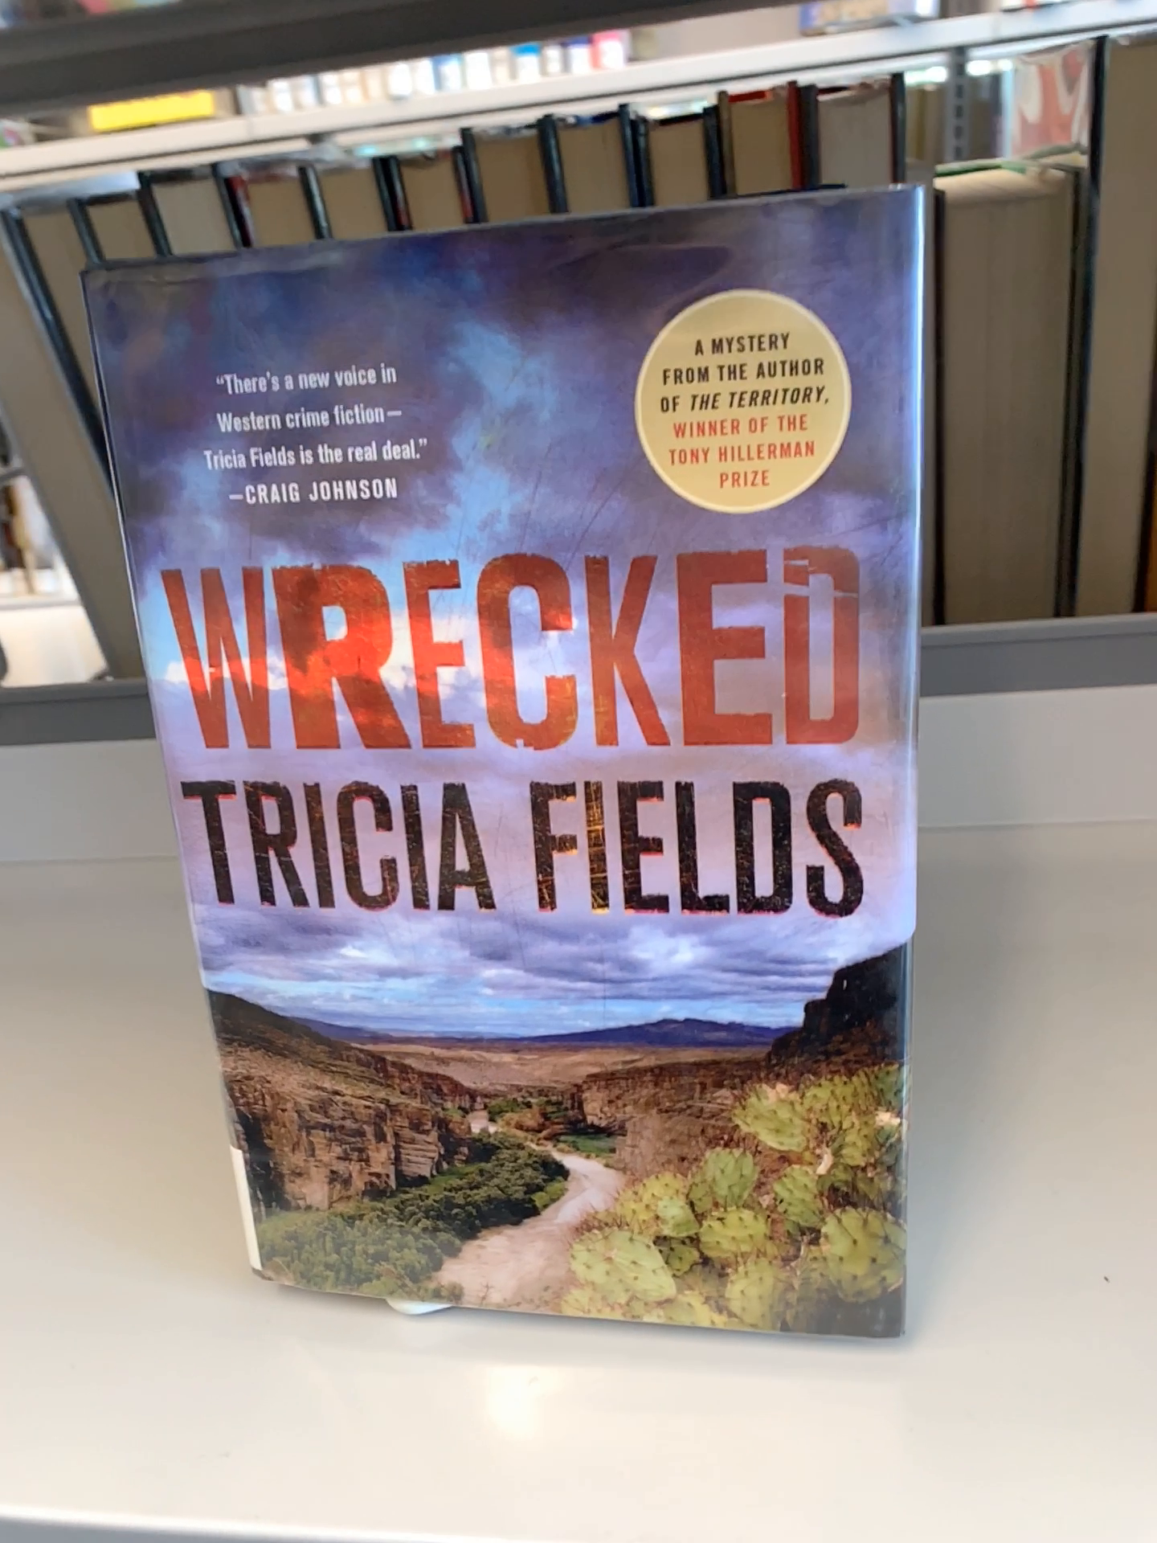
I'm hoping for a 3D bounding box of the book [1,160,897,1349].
[{"bbox_3d":[-0.015,0.009,0.237,0.147,0.213,0.035,-2,17,12],"label":"book"}]
